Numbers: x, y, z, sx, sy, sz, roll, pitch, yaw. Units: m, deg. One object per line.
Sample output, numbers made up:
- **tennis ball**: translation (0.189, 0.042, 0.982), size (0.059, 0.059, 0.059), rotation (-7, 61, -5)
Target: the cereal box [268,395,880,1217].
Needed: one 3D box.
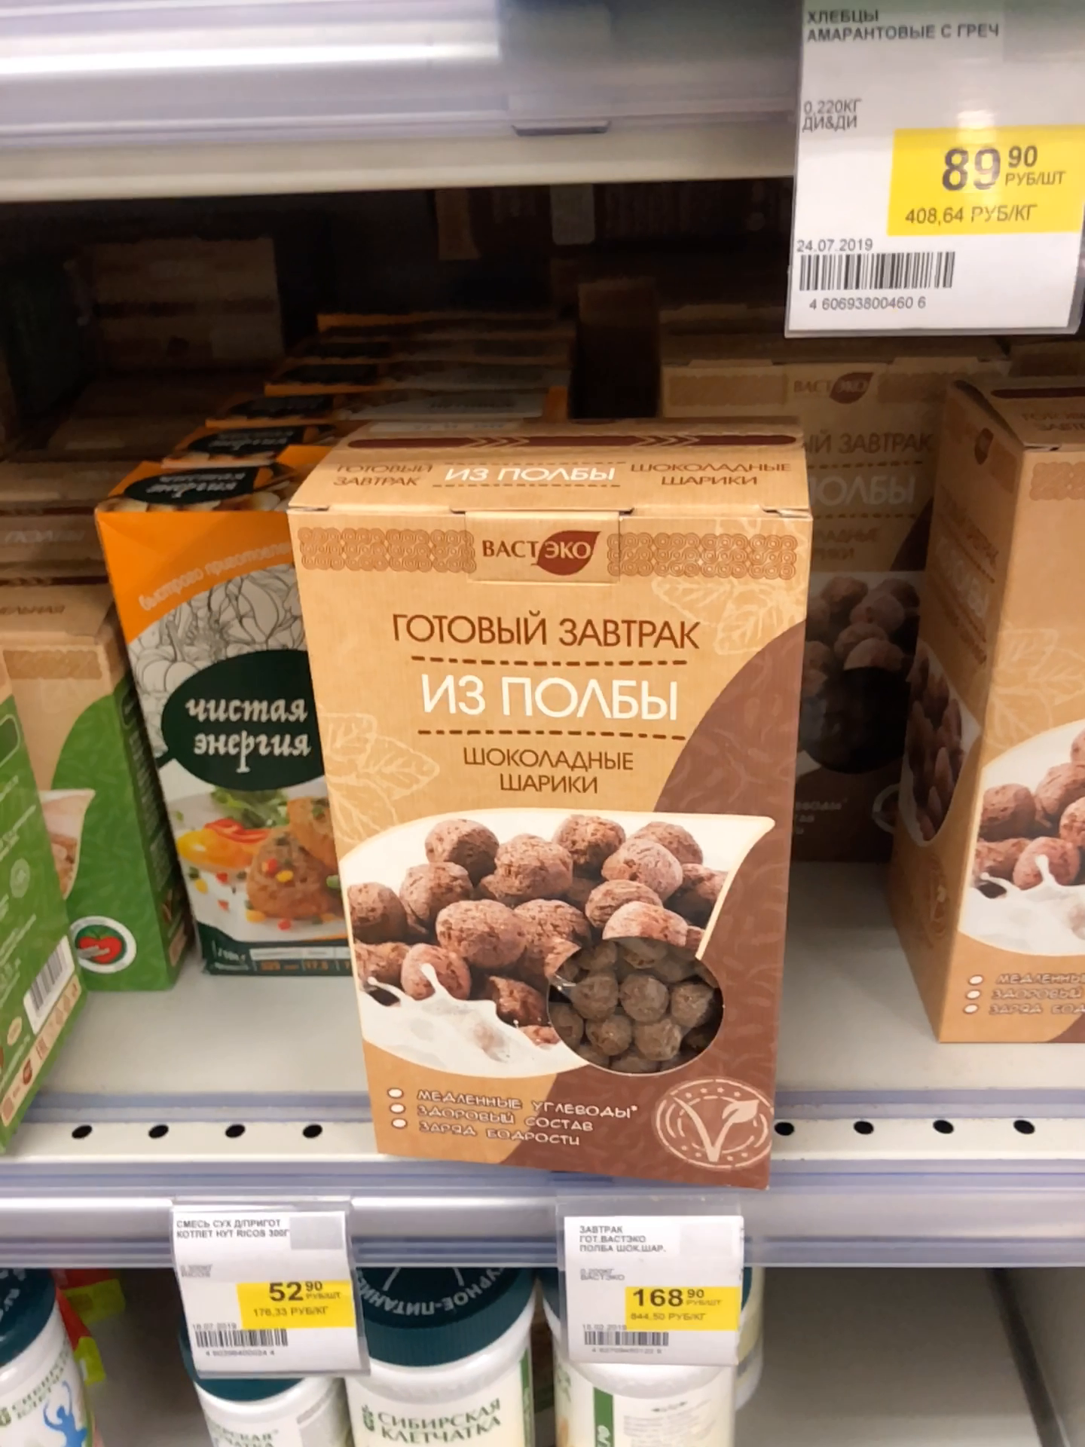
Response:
- **cereal box**: translation (0.013, 0.024, 0.336), size (0.130, 0.209, 0.080), rotation (3, 27, 8)
